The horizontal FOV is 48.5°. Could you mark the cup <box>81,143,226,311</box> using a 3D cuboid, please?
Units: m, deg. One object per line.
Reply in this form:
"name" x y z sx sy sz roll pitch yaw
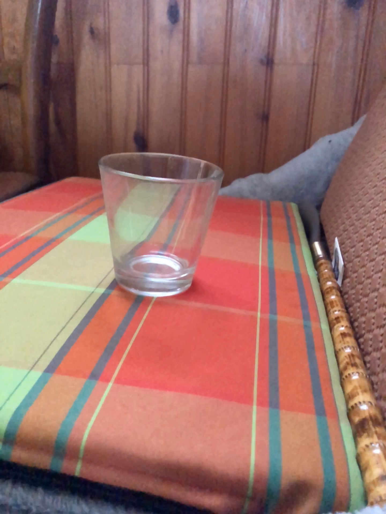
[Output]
"cup" -0.025 -0.027 0.307 0.080 0.090 0.080 5 22 -2
